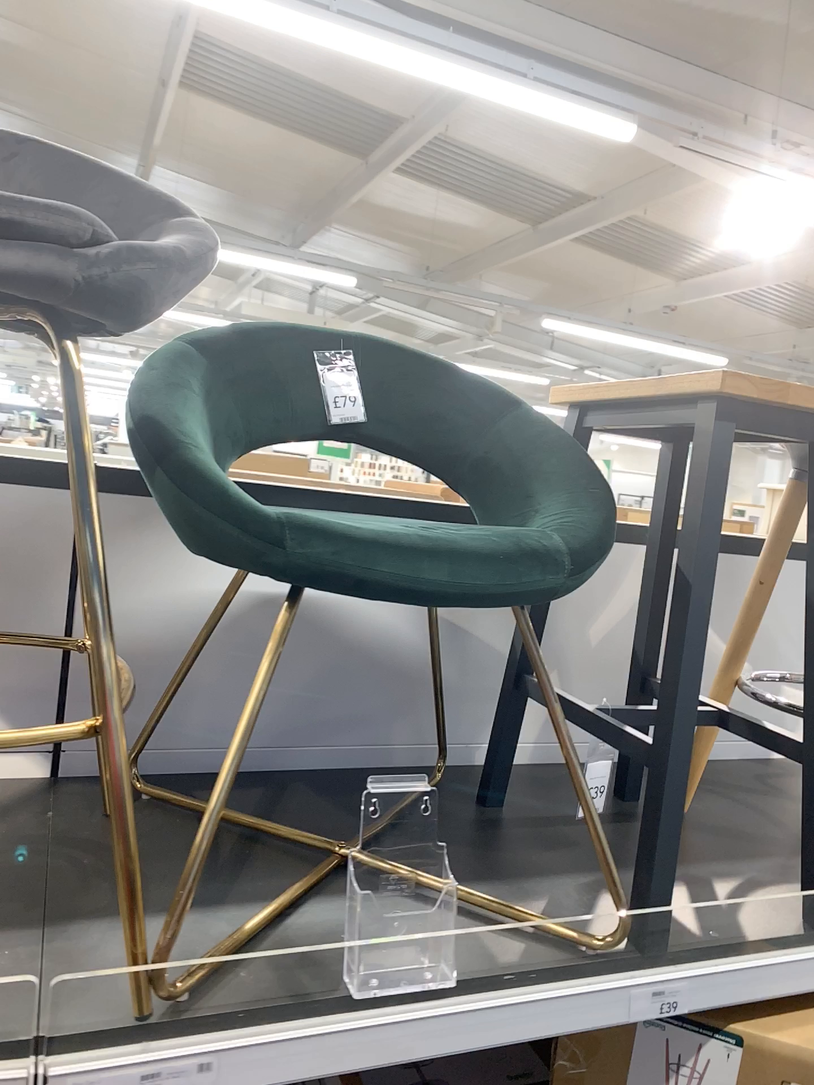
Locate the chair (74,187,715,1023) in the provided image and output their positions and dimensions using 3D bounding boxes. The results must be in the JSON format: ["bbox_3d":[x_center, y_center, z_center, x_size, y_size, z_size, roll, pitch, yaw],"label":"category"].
[{"bbox_3d":[-0.073,0.060,1.141,0.629,0.776,0.555,5,4,-24],"label":"chair"}]
